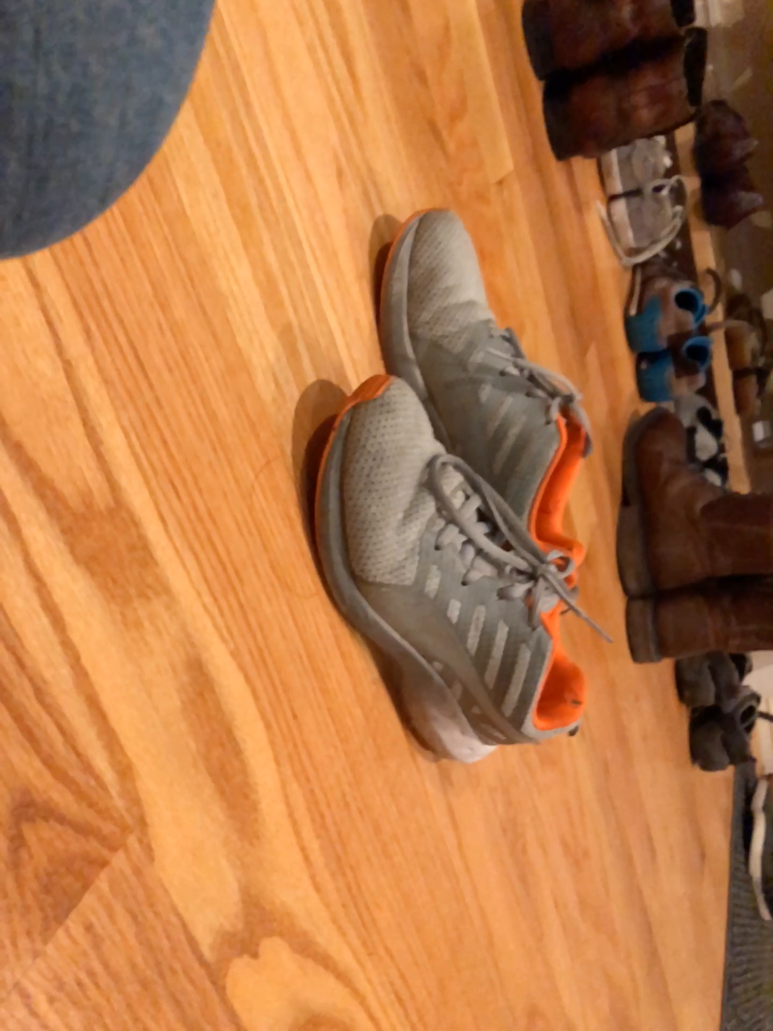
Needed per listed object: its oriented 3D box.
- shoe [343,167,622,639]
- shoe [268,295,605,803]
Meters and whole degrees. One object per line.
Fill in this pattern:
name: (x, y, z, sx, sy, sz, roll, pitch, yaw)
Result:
shoe: (0.065, -0.062, 0.520, 0.101, 0.099, 0.250, -28, 109, -61)
shoe: (0.044, 0.027, 0.463, 0.250, 0.080, 0.110, 67, 32, -29)
